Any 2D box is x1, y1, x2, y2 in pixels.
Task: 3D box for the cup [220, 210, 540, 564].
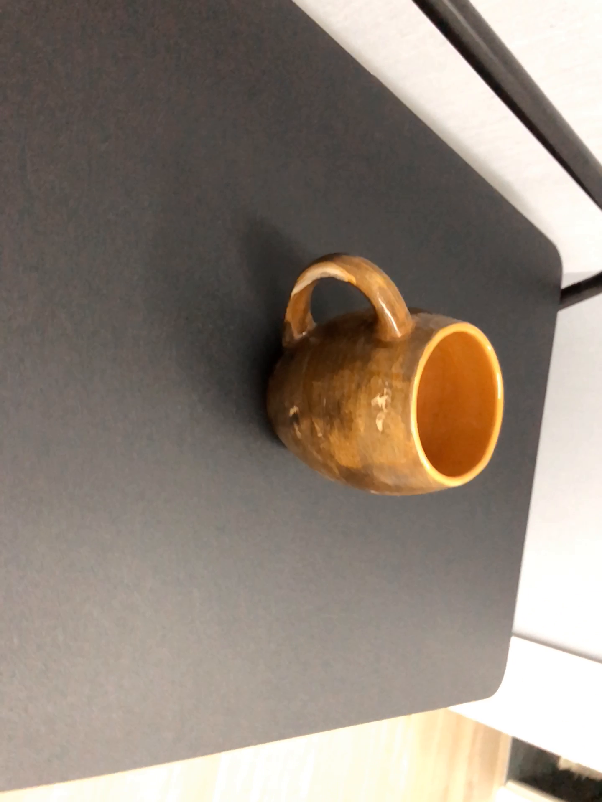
[{"bbox_3d":[0.044,-0.009,0.331,0.092,0.092,0.131,-37,117,-38],"label":"cup"}]
